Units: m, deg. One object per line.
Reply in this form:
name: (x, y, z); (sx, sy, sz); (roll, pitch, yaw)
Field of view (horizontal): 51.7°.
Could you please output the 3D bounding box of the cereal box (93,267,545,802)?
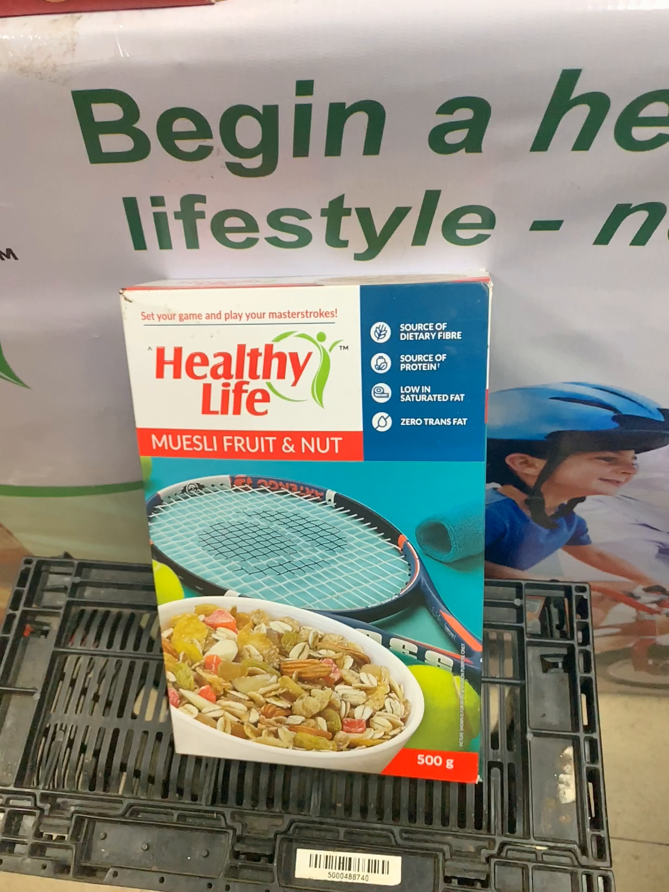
cereal box: (-0.001, 0.042, 0.352); (0.190, 0.250, 0.070); (1, 16, 10)
